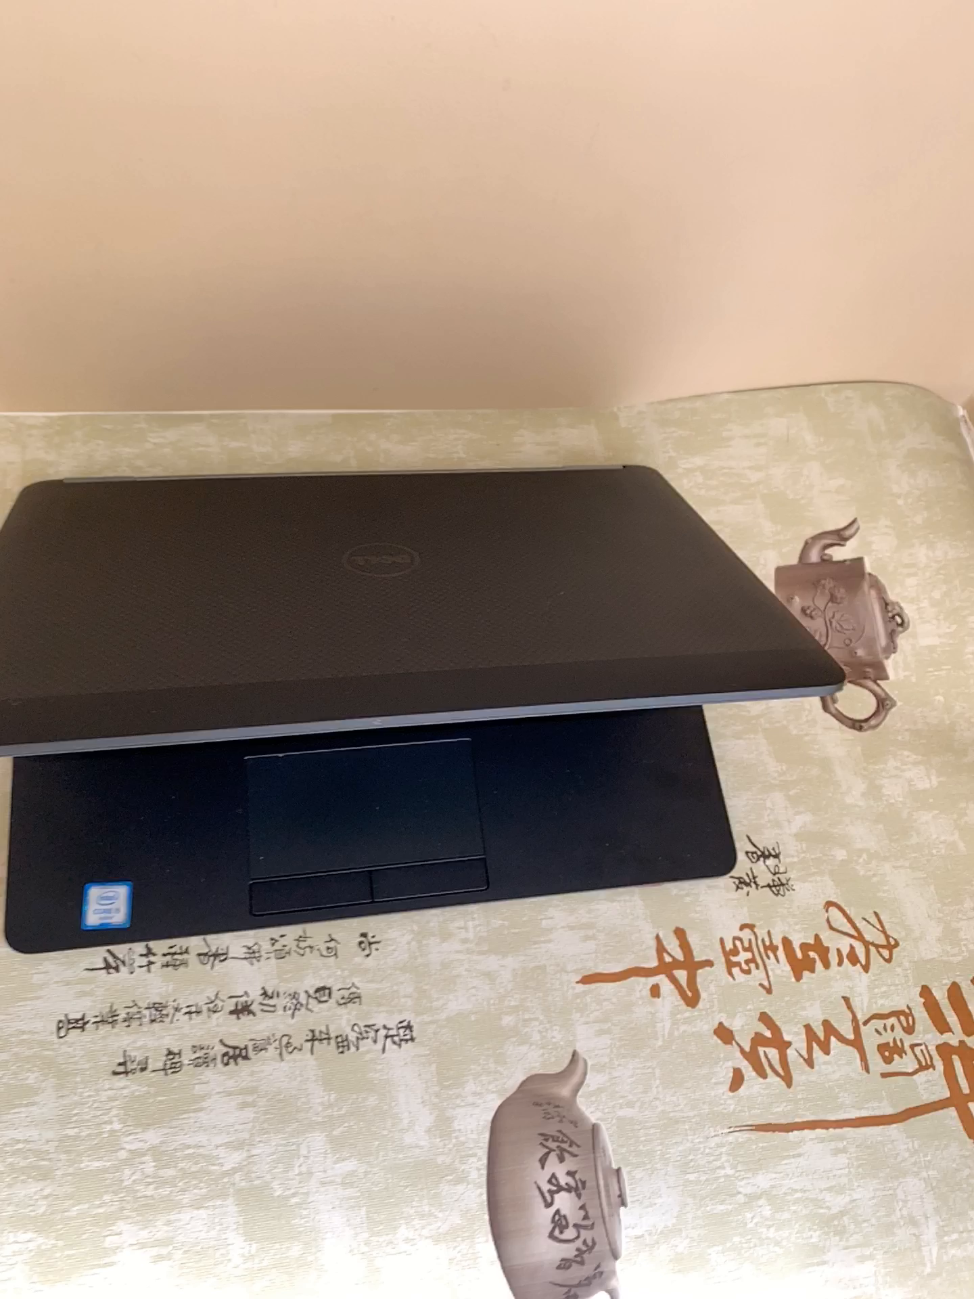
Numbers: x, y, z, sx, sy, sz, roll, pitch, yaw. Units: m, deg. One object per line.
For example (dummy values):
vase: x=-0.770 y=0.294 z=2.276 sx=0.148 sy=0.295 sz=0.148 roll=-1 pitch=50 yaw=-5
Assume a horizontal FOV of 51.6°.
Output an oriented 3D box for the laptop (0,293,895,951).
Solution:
laptop: x=-0.042 y=-0.013 z=0.406 sx=0.309 sy=0.136 sz=0.212 roll=-4 pitch=67 yaw=-11
